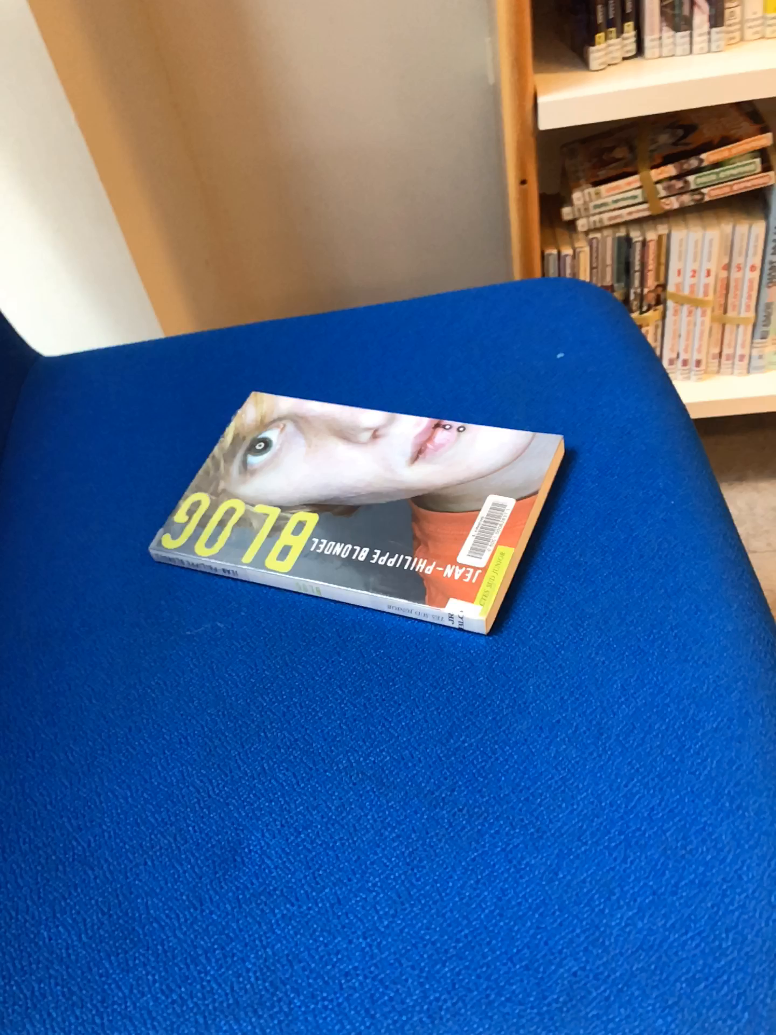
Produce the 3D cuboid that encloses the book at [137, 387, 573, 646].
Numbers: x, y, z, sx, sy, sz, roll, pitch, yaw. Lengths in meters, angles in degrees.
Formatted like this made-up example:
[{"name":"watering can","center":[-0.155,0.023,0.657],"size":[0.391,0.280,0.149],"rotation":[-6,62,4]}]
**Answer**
[{"name":"book","center":[-0.018,-0.012,0.505],"size":[0.220,0.018,0.143],"rotation":[11,51,24]}]
